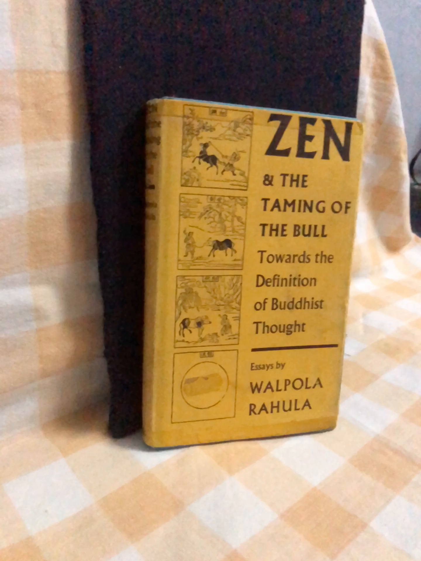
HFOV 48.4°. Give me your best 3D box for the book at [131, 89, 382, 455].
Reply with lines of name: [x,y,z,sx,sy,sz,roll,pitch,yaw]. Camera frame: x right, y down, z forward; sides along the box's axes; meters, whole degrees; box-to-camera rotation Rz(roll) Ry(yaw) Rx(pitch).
book: [0.026,0.000,0.299,0.140,0.209,0.030,1,12,-19]
